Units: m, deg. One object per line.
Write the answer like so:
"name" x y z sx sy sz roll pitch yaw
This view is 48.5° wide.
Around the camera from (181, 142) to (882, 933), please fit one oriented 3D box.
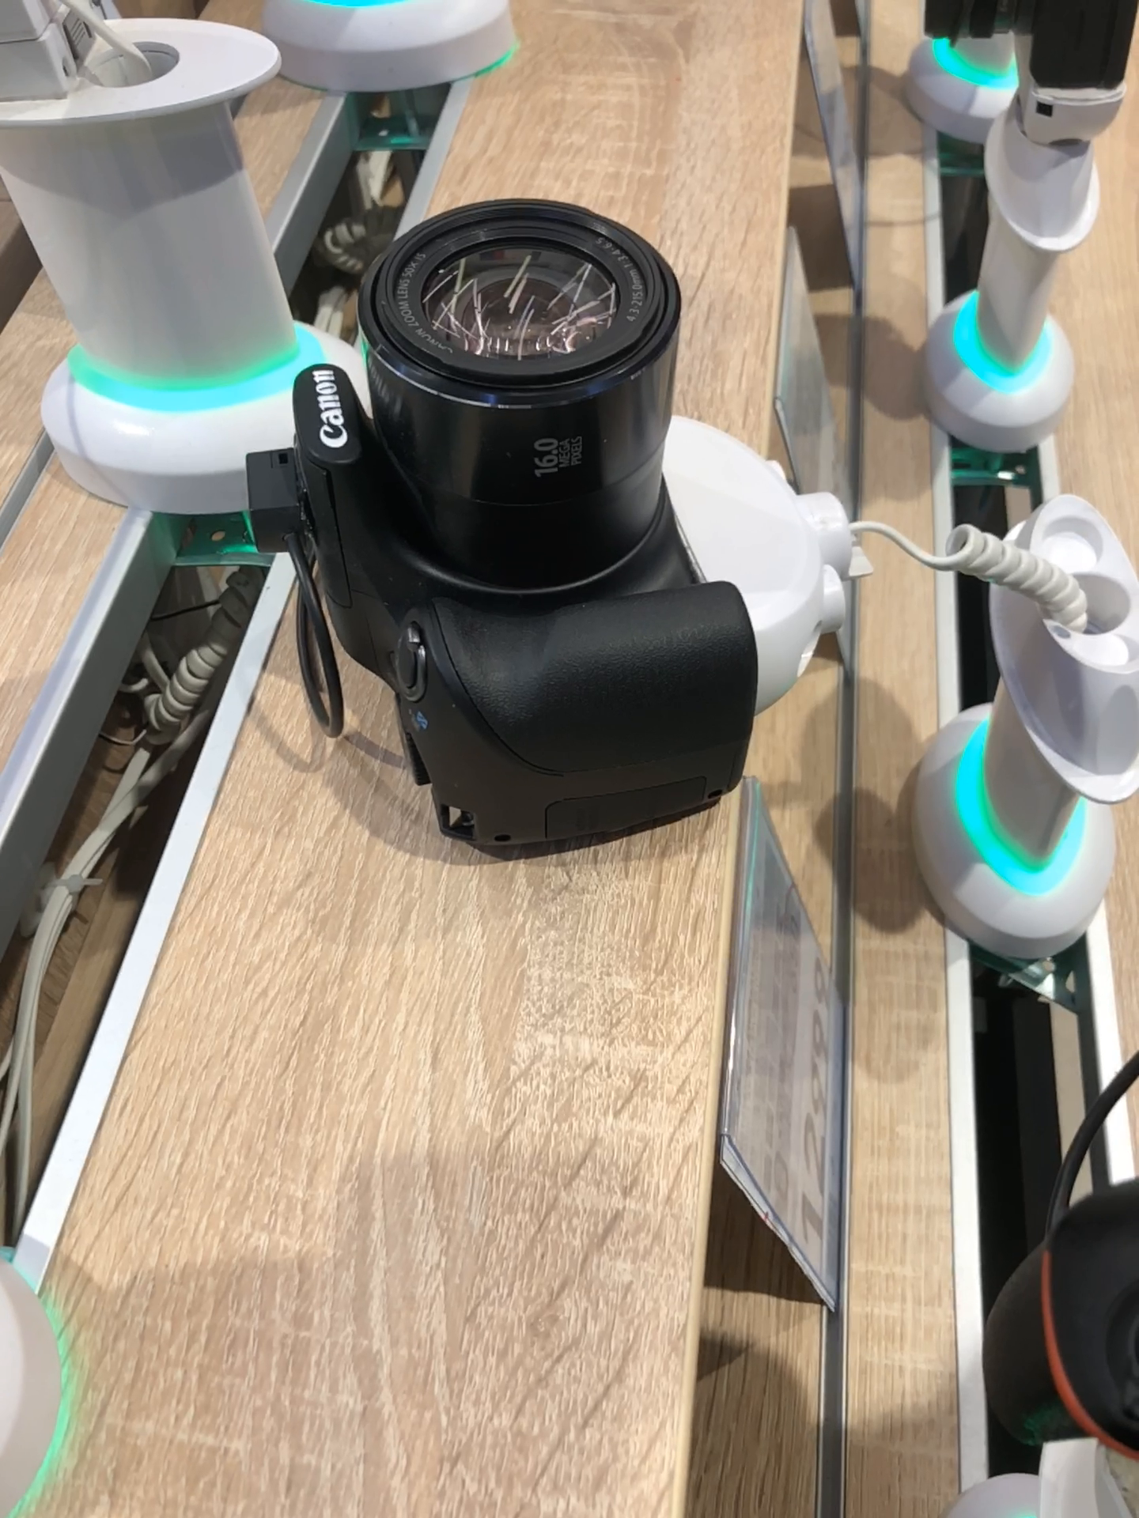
"camera" -0.017 -0.052 0.278 0.106 0.090 0.134 -11 54 -9
